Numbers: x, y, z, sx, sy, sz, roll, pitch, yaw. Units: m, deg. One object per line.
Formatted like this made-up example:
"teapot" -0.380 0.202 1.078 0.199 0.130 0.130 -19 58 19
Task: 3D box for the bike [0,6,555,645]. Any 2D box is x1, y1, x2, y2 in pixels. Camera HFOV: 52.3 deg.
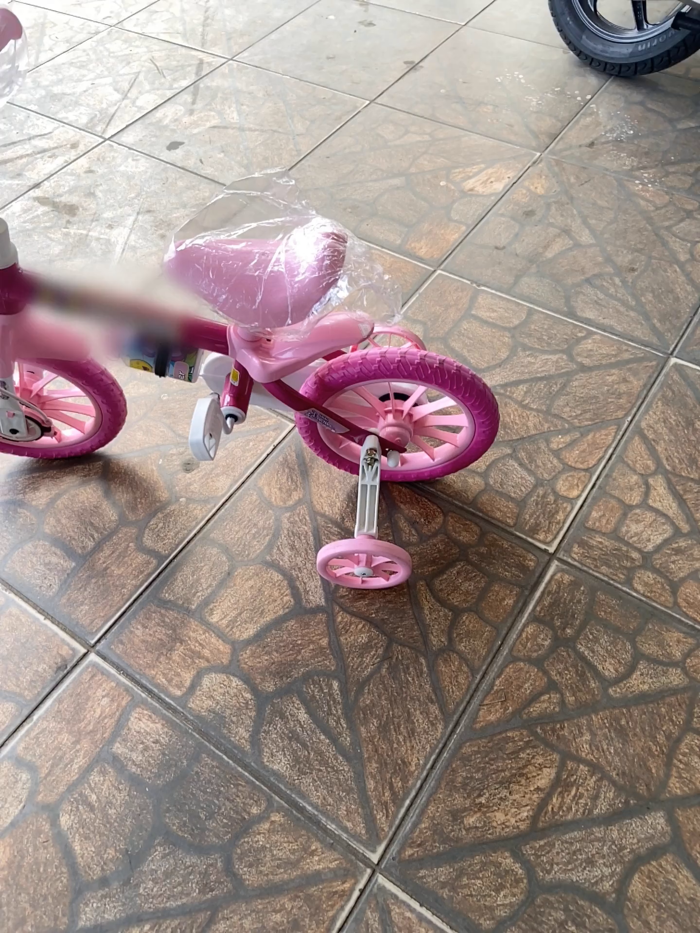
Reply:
"bike" -0.227 -0.158 0.910 0.791 0.563 0.513 3 55 6
